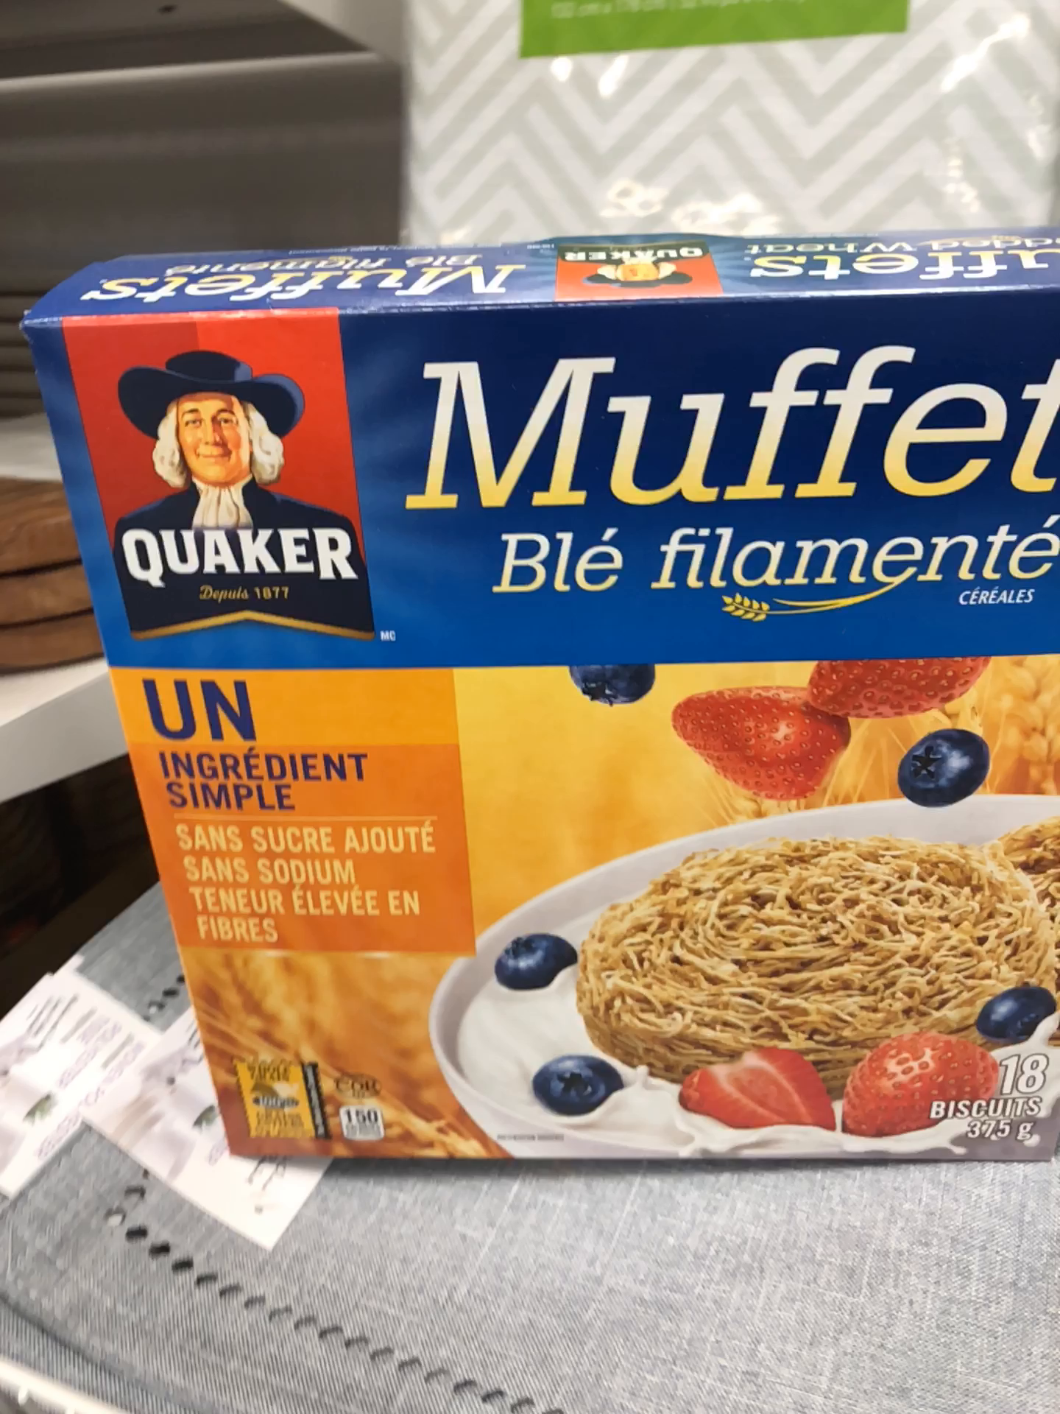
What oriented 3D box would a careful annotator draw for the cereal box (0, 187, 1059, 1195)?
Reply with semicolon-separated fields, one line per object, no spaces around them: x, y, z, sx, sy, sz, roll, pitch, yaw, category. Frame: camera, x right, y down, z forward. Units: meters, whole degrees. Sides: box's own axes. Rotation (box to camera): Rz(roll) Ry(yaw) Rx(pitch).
0.025;0.010;0.281;0.250;0.229;0.060;-1;29;4;cereal box
